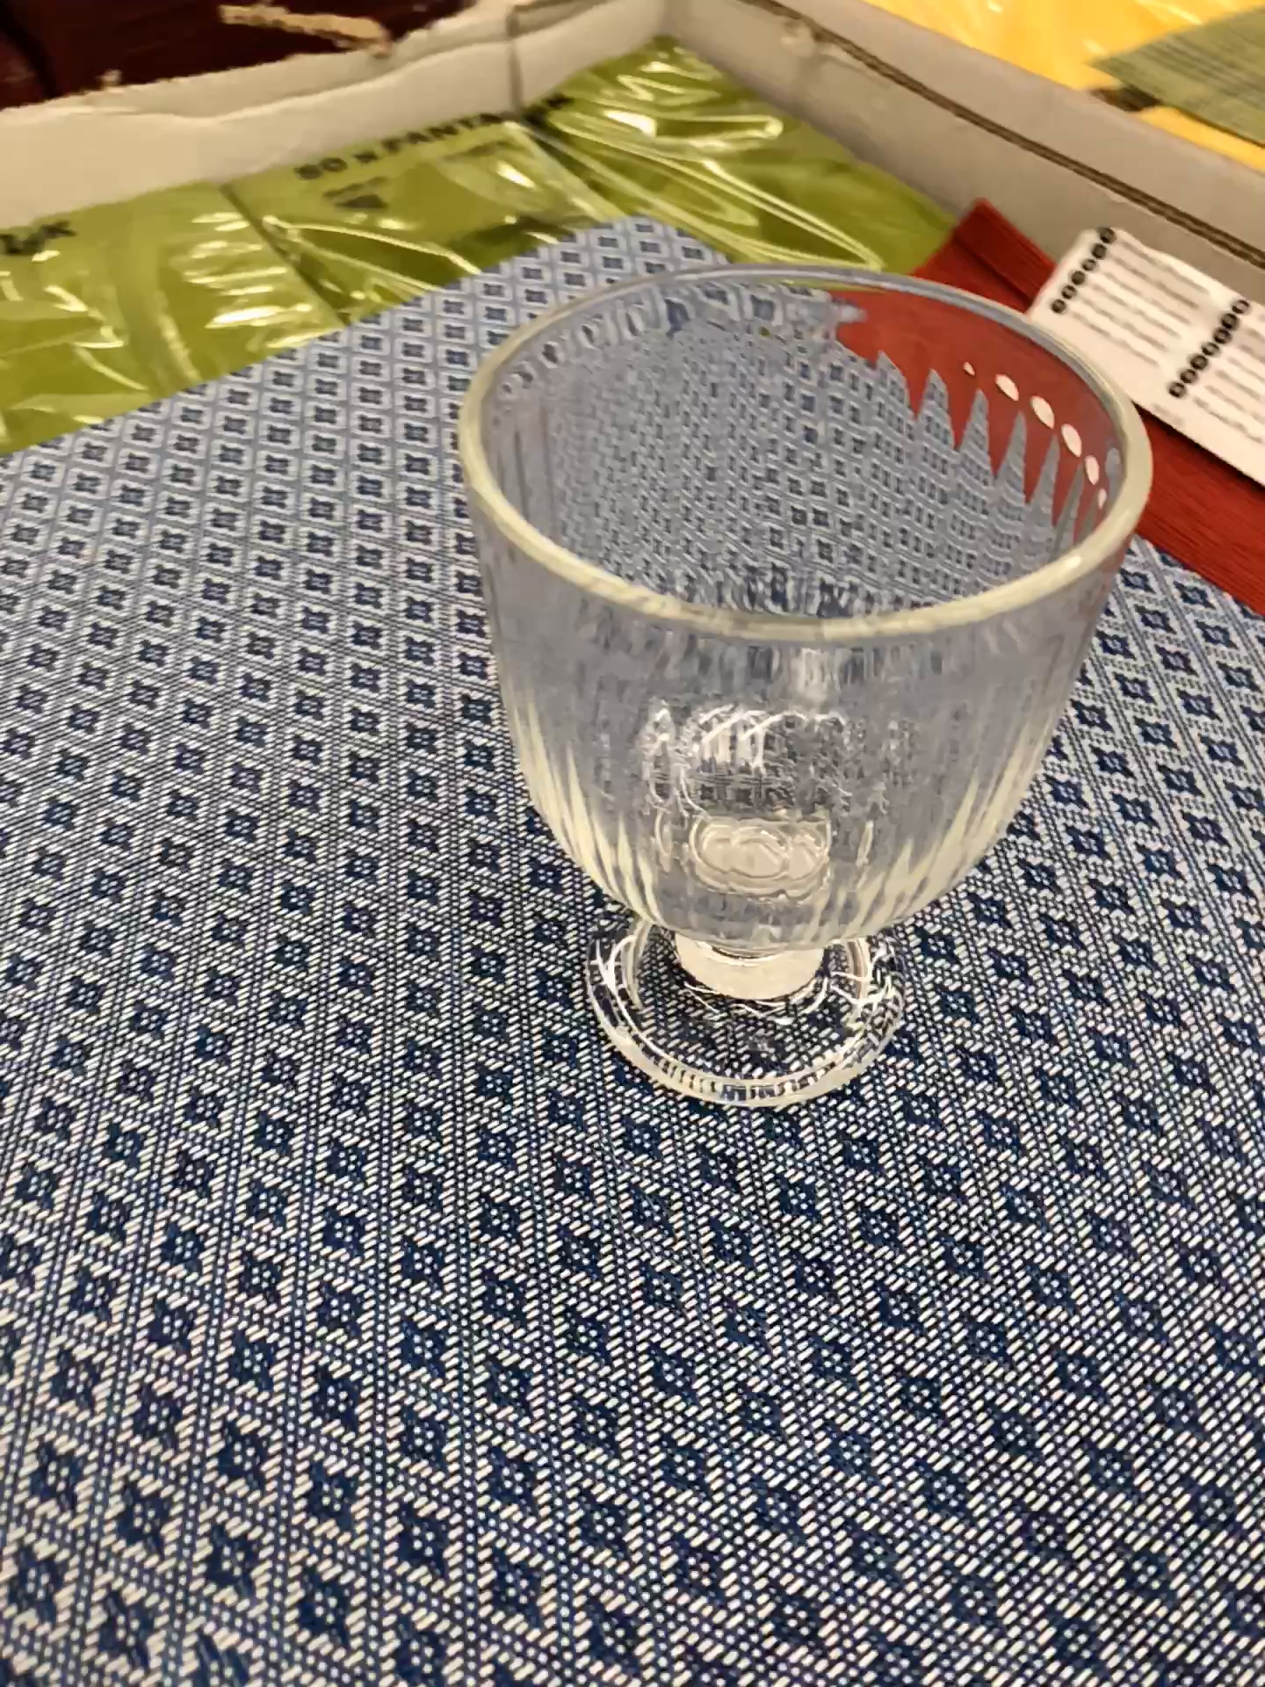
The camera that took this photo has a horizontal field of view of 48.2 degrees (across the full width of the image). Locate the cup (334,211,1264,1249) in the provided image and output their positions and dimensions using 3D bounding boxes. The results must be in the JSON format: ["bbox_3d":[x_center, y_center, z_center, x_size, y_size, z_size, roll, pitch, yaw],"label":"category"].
[{"bbox_3d":[0.021,-0.020,0.230,0.100,0.110,0.100,-1,46,1],"label":"cup"}]
